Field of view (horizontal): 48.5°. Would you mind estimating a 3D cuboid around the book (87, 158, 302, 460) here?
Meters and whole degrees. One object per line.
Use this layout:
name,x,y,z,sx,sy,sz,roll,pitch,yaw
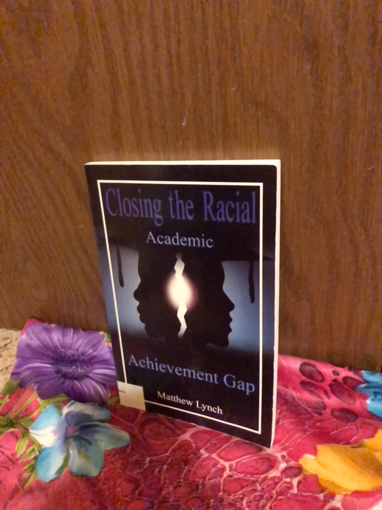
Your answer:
book,0.007,0.043,0.335,0.146,0.230,0.036,5,24,23
